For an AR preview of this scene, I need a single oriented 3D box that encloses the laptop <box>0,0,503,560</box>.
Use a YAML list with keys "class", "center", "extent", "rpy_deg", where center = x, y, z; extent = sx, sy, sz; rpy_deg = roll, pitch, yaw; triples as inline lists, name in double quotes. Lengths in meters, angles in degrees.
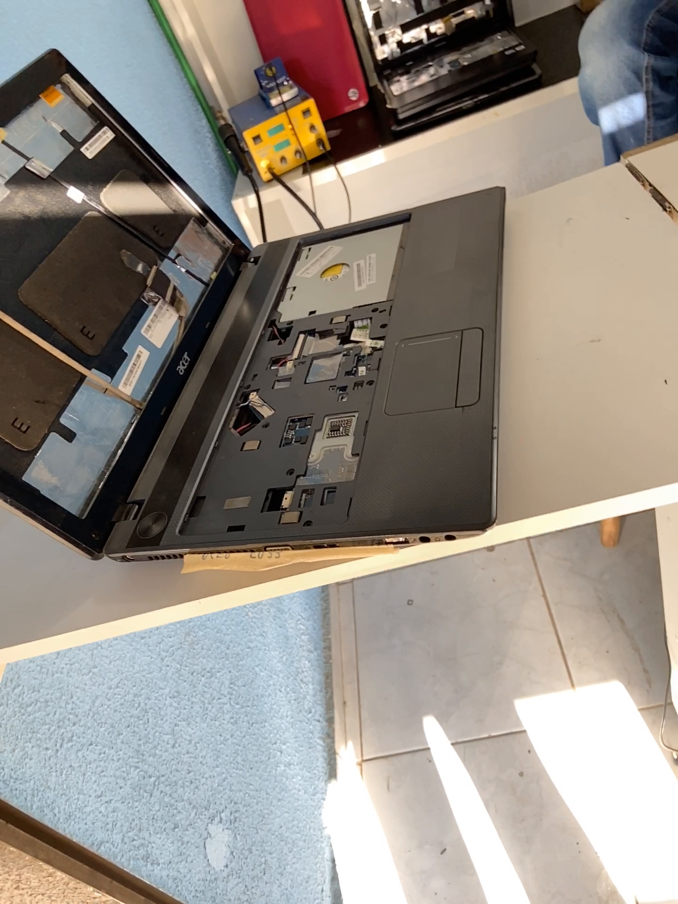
- class: "laptop"
  center: [-0.090, -0.153, 0.480]
  extent: [0.350, 0.210, 0.380]
  rpy_deg: [-7, 43, 22]
